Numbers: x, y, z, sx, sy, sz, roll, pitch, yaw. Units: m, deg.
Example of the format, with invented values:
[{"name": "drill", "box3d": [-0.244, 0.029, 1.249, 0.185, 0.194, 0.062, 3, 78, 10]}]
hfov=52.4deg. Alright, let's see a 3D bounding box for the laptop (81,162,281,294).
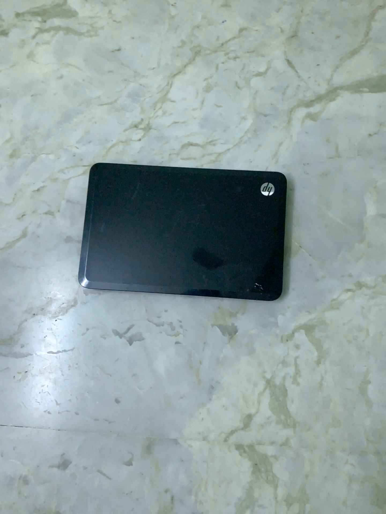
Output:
[{"name": "laptop", "box3d": [-0.016, -0.056, 0.693, 0.333, 0.022, 0.221, 3, 75, 4]}]
